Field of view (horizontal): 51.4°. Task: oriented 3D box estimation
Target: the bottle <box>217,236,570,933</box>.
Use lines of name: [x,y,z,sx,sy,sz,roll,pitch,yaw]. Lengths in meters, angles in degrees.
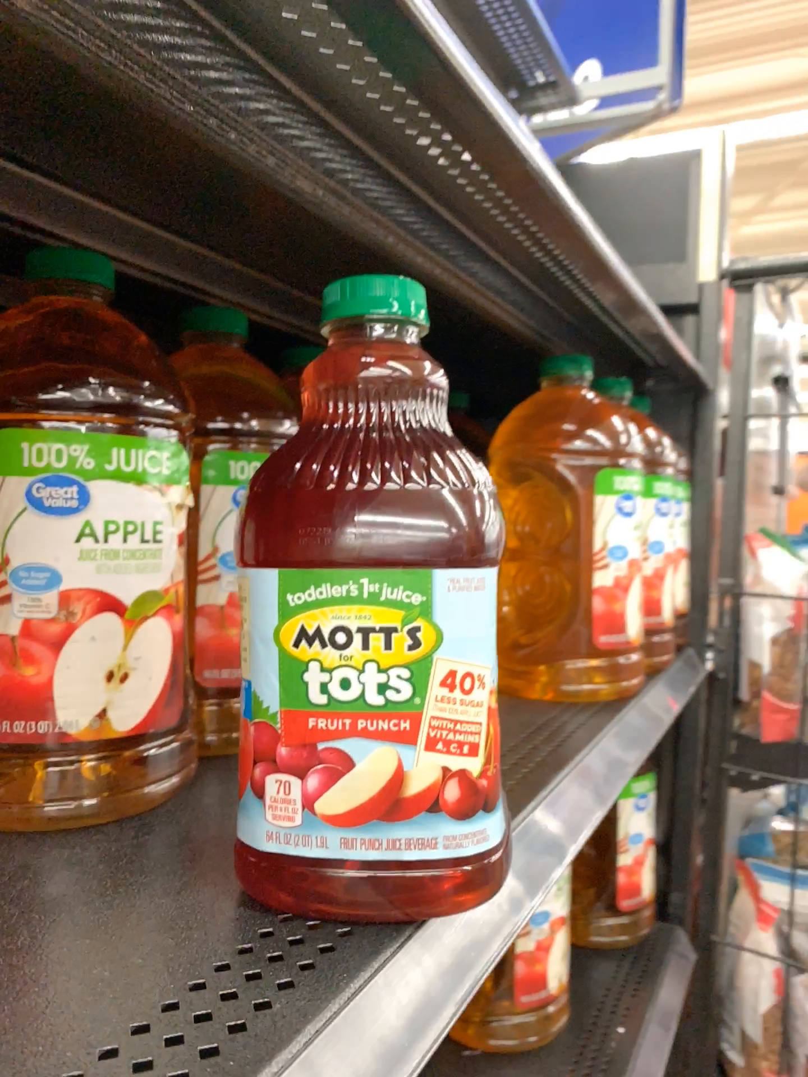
bottle: [-0.007,0.017,0.359,0.120,0.250,0.110,2,2,0]
